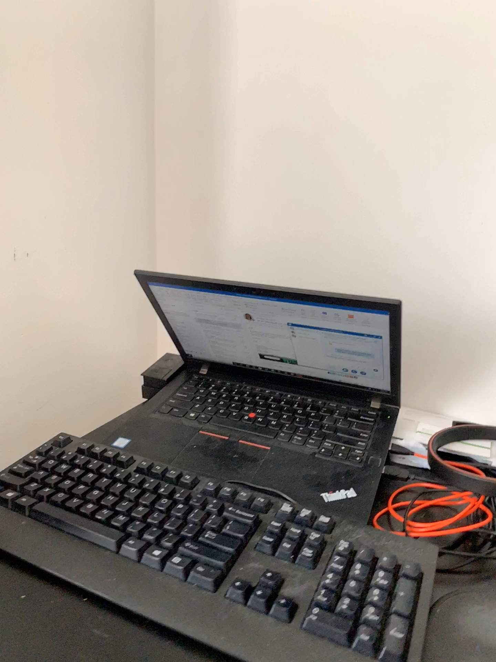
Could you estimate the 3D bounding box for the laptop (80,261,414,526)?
[{"bbox_3d":[0.009,0.043,0.638,0.334,0.172,0.237,8,22,21],"label":"laptop"}]
